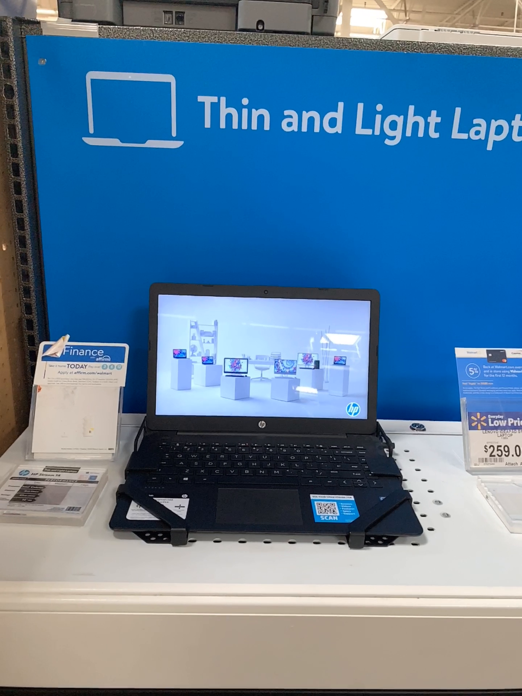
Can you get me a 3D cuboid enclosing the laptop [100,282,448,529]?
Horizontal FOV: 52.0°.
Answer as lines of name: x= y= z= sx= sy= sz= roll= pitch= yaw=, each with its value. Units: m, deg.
laptop: x=0.006 y=0.049 z=0.657 sx=0.325 sy=0.203 sz=0.270 roll=1 pitch=17 yaw=-2
